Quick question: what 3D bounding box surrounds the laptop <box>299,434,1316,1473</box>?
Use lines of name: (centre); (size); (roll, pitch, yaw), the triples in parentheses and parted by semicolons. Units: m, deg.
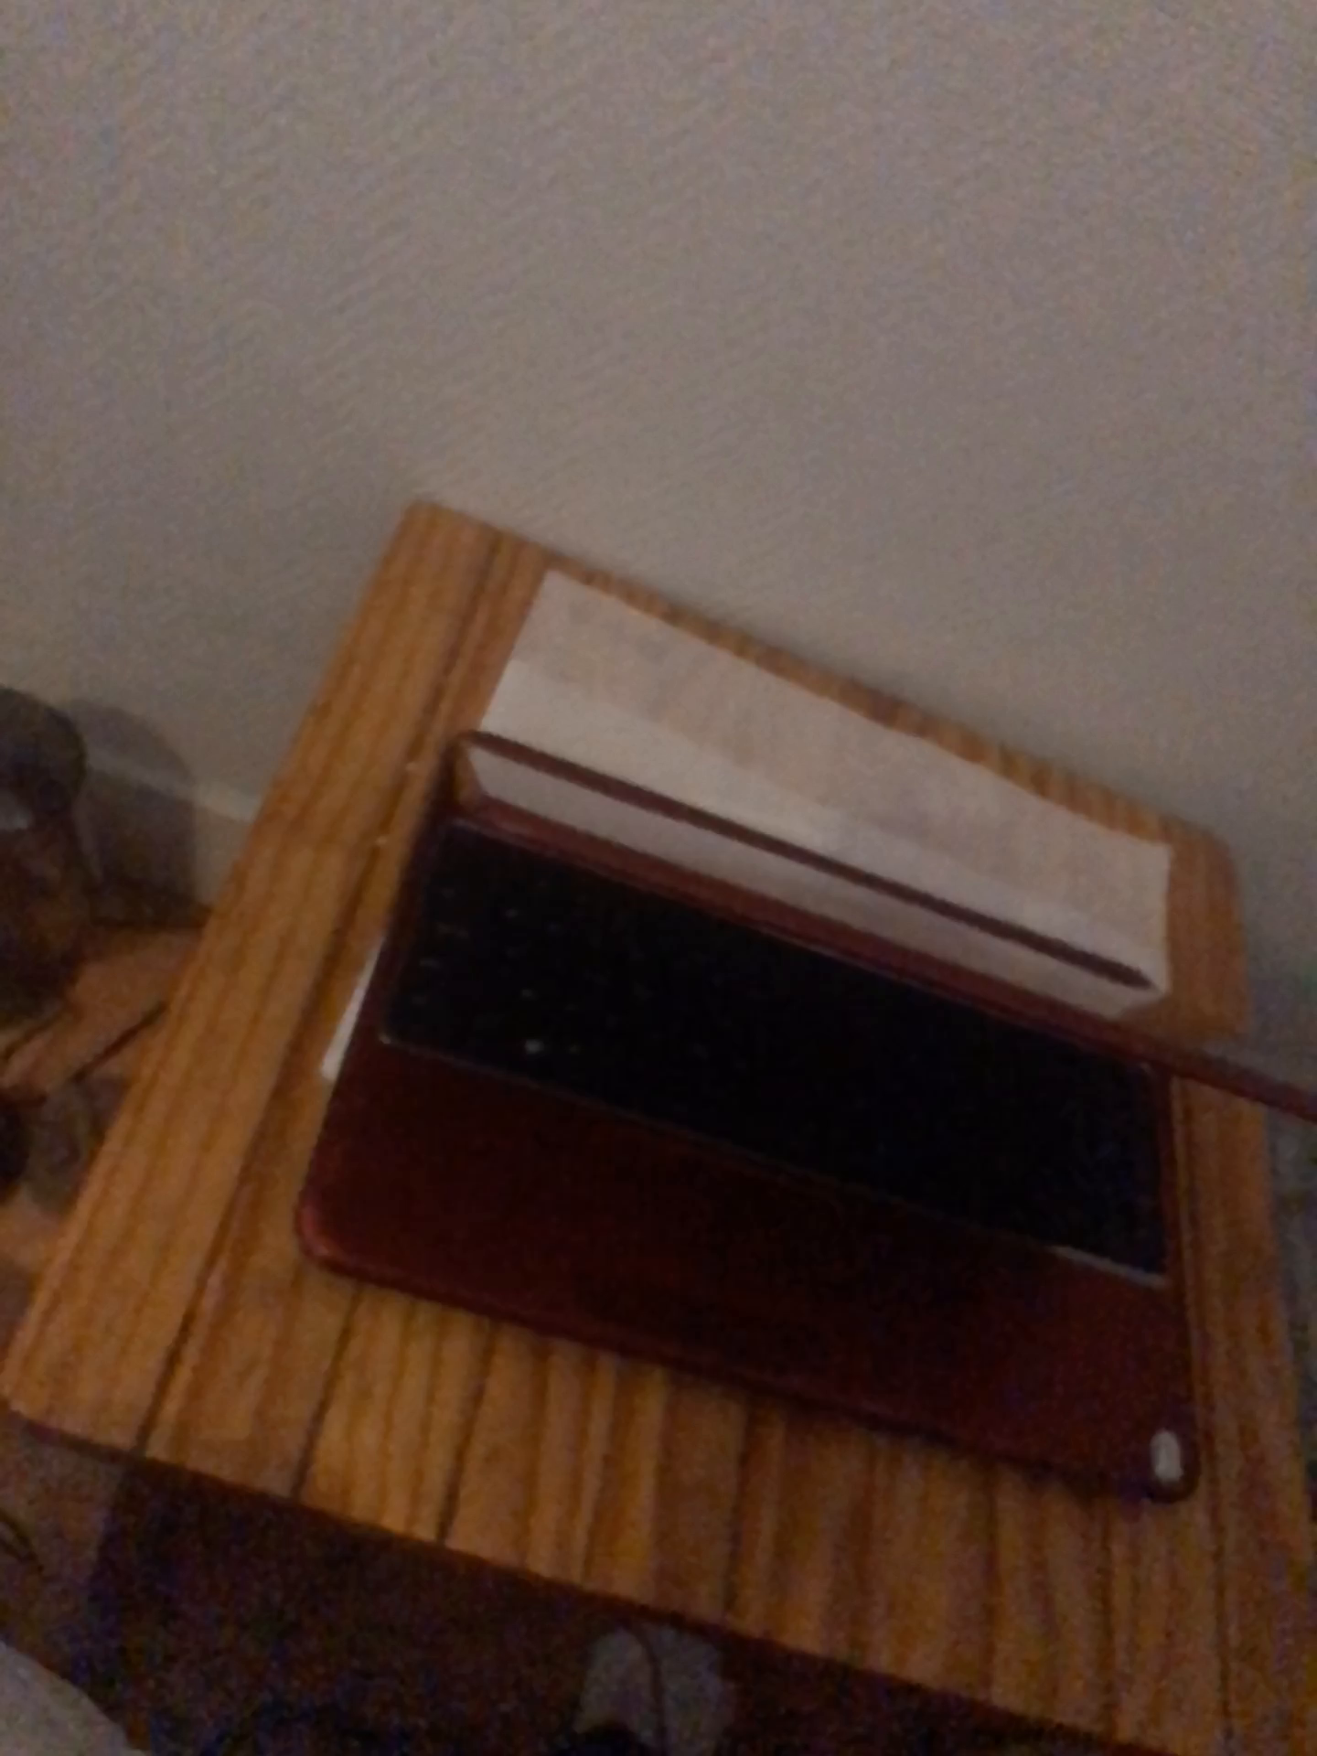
laptop: (0.093, 0.041, 0.574); (0.373, 0.168, 0.254); (20, 49, -15)
